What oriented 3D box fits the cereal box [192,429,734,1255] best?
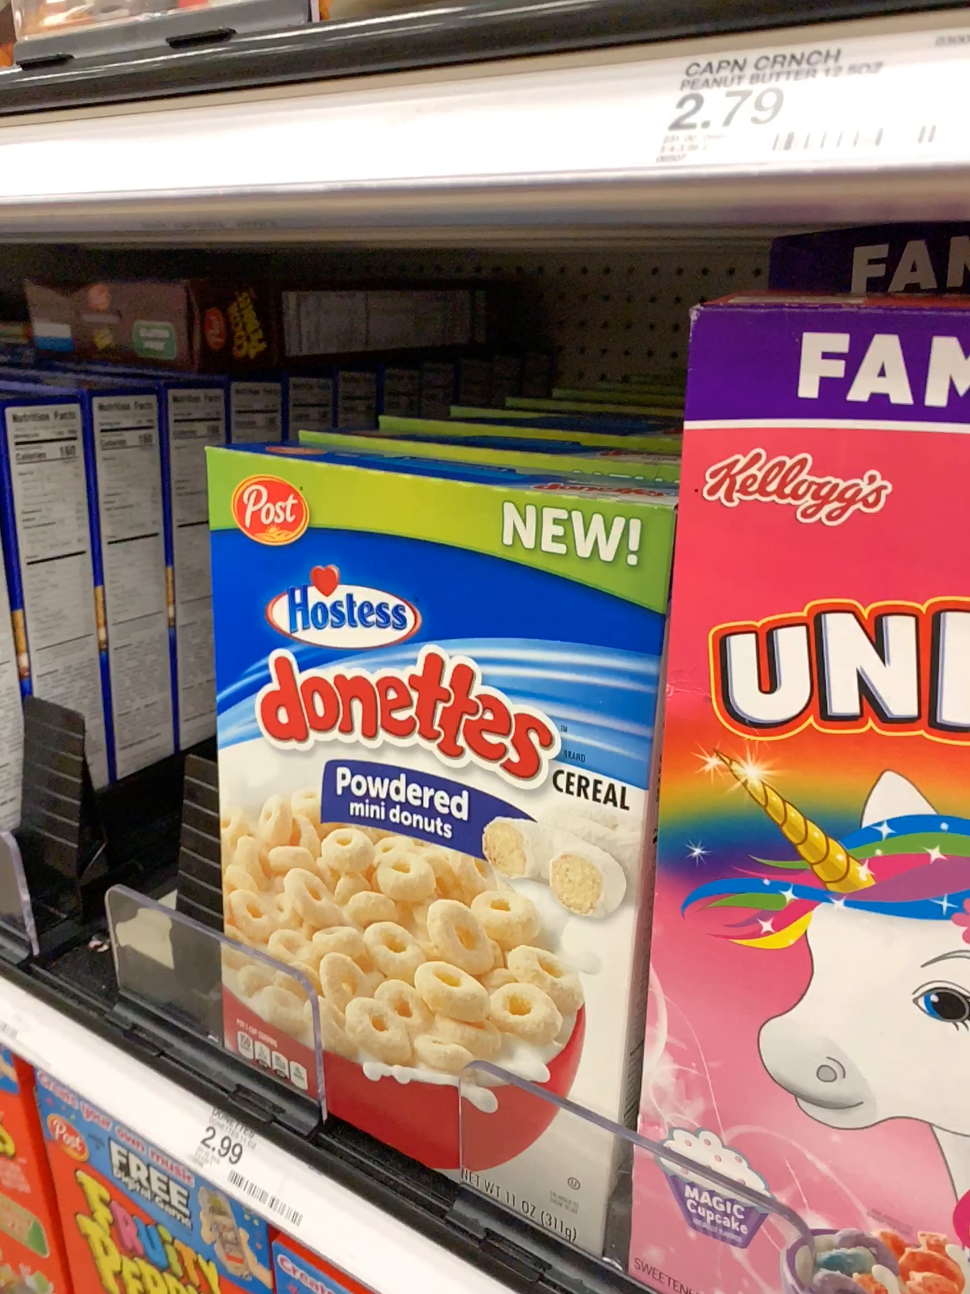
[{"bbox_3d":[-0.020,0.062,0.391,0.190,0.269,0.060,13,19,30],"label":"cereal box"}]
